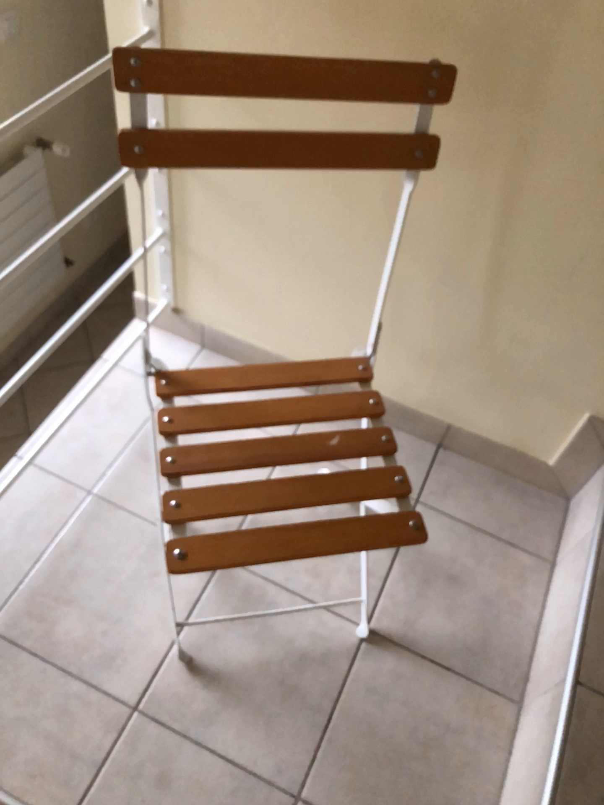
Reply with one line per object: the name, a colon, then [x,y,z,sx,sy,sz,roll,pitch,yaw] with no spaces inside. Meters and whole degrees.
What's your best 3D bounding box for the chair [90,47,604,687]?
chair: [-0.024,0.030,0.994,0.441,0.876,0.432,-4,51,-11]
